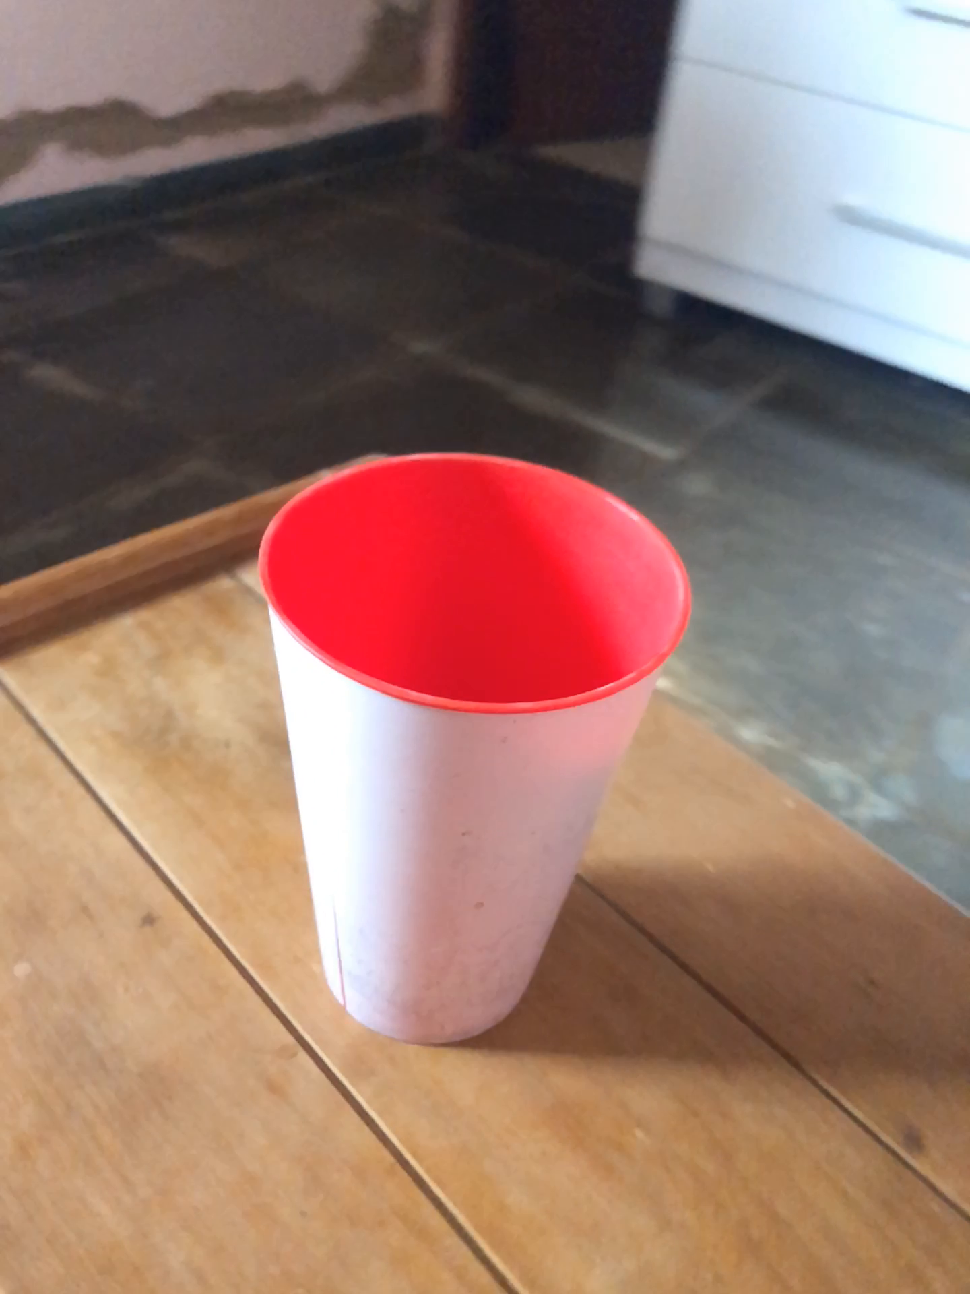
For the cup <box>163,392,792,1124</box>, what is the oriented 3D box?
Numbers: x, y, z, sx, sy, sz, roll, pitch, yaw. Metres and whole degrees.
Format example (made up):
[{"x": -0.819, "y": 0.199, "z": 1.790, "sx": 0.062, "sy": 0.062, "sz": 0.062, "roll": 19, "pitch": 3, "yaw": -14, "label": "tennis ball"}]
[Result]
[{"x": -0.005, "y": 0.022, "z": 0.268, "sx": 0.090, "sy": 0.119, "sz": 0.100, "roll": 34, "pitch": 46, "yaw": 29, "label": "cup"}]
